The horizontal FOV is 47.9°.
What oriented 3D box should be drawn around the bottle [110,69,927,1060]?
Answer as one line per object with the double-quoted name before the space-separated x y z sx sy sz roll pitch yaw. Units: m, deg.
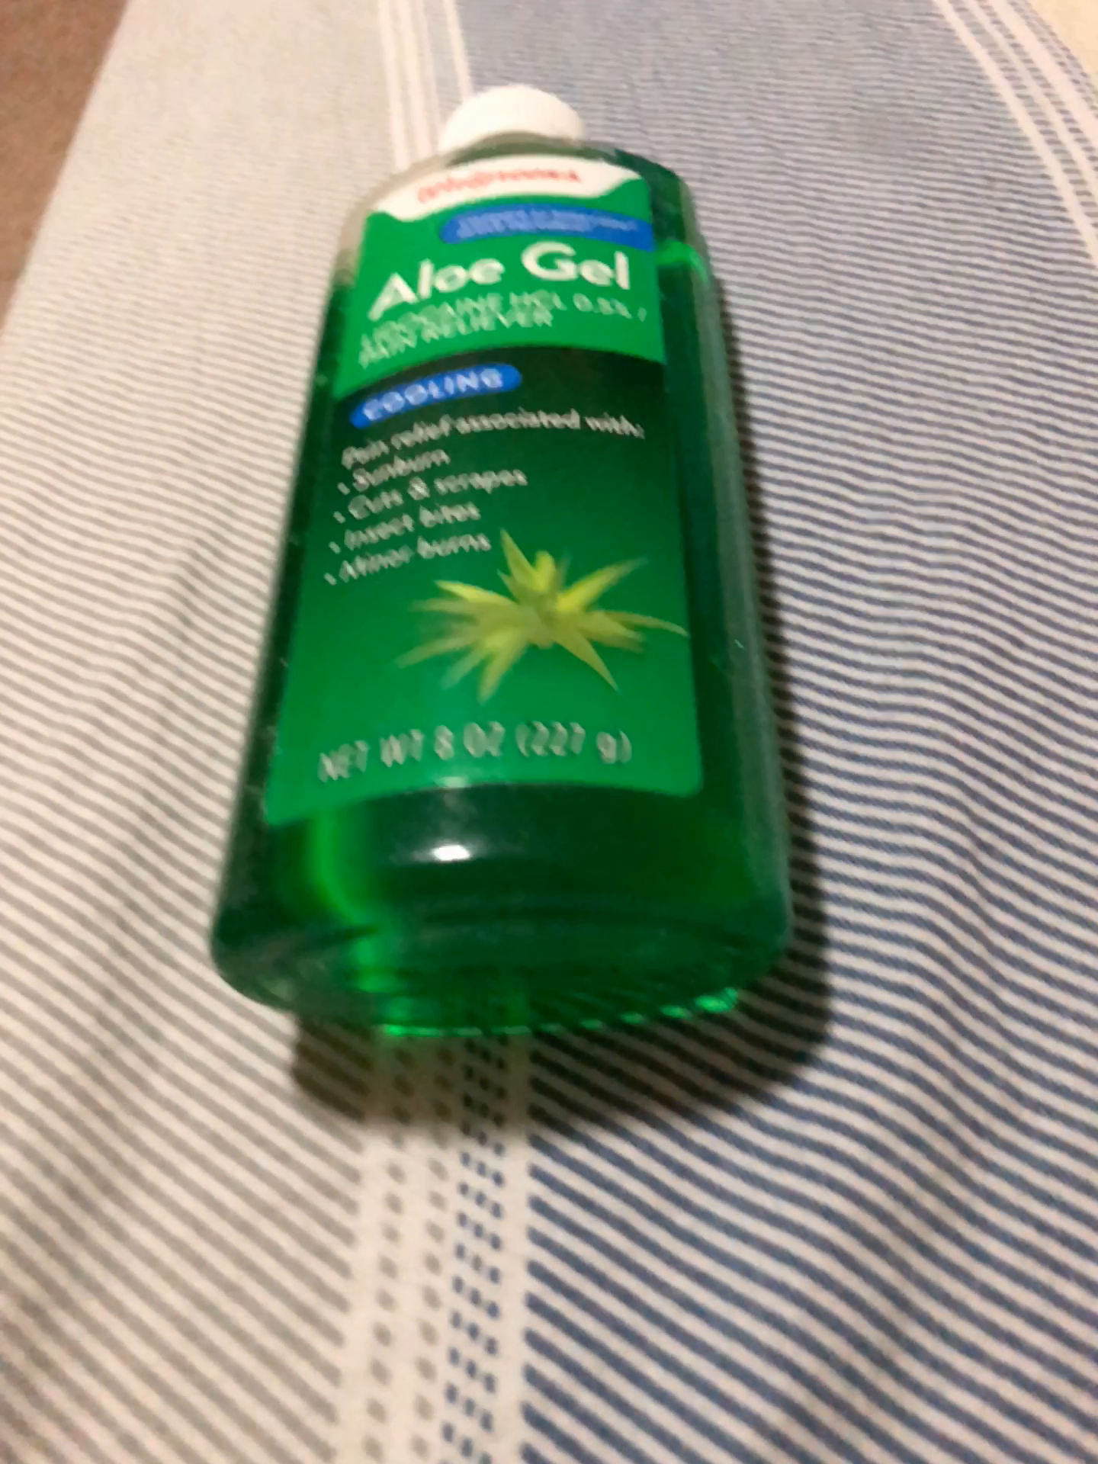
"bottle" -0.002 -0.042 0.188 0.080 0.030 0.180 -2 52 3
